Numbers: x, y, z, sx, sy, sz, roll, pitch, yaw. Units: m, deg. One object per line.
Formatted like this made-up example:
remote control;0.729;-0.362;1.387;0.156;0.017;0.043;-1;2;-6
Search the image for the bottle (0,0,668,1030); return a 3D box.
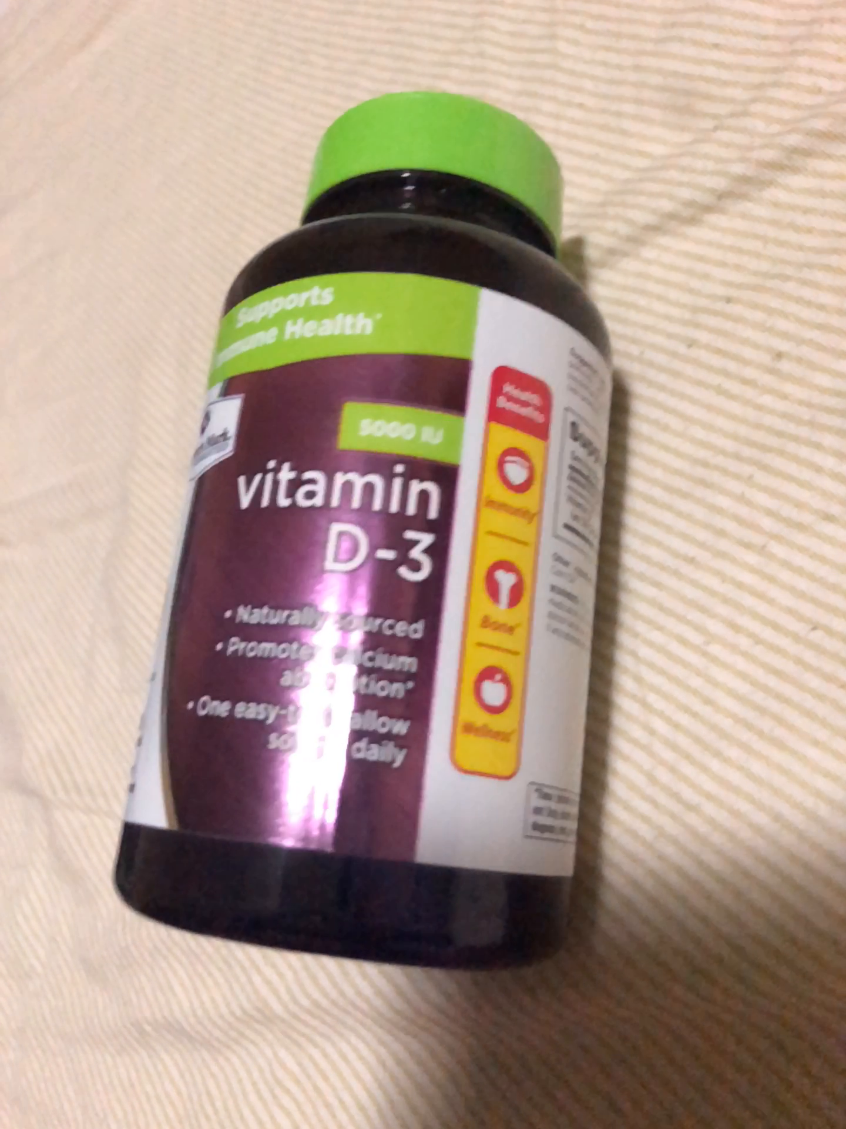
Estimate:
bottle;-0.007;-0.004;0.134;0.060;0.060;0.110;-5;72;34
